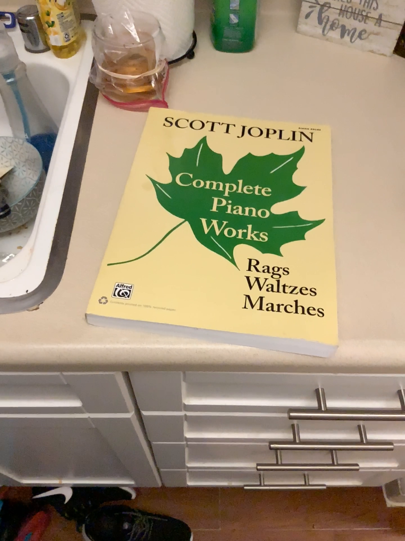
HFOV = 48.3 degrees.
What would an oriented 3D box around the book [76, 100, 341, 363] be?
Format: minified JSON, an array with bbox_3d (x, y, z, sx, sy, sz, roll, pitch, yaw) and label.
[{"bbox_3d":[0.026,-0.068,0.508,0.240,0.030,0.320,8,56,3],"label":"book"}]
